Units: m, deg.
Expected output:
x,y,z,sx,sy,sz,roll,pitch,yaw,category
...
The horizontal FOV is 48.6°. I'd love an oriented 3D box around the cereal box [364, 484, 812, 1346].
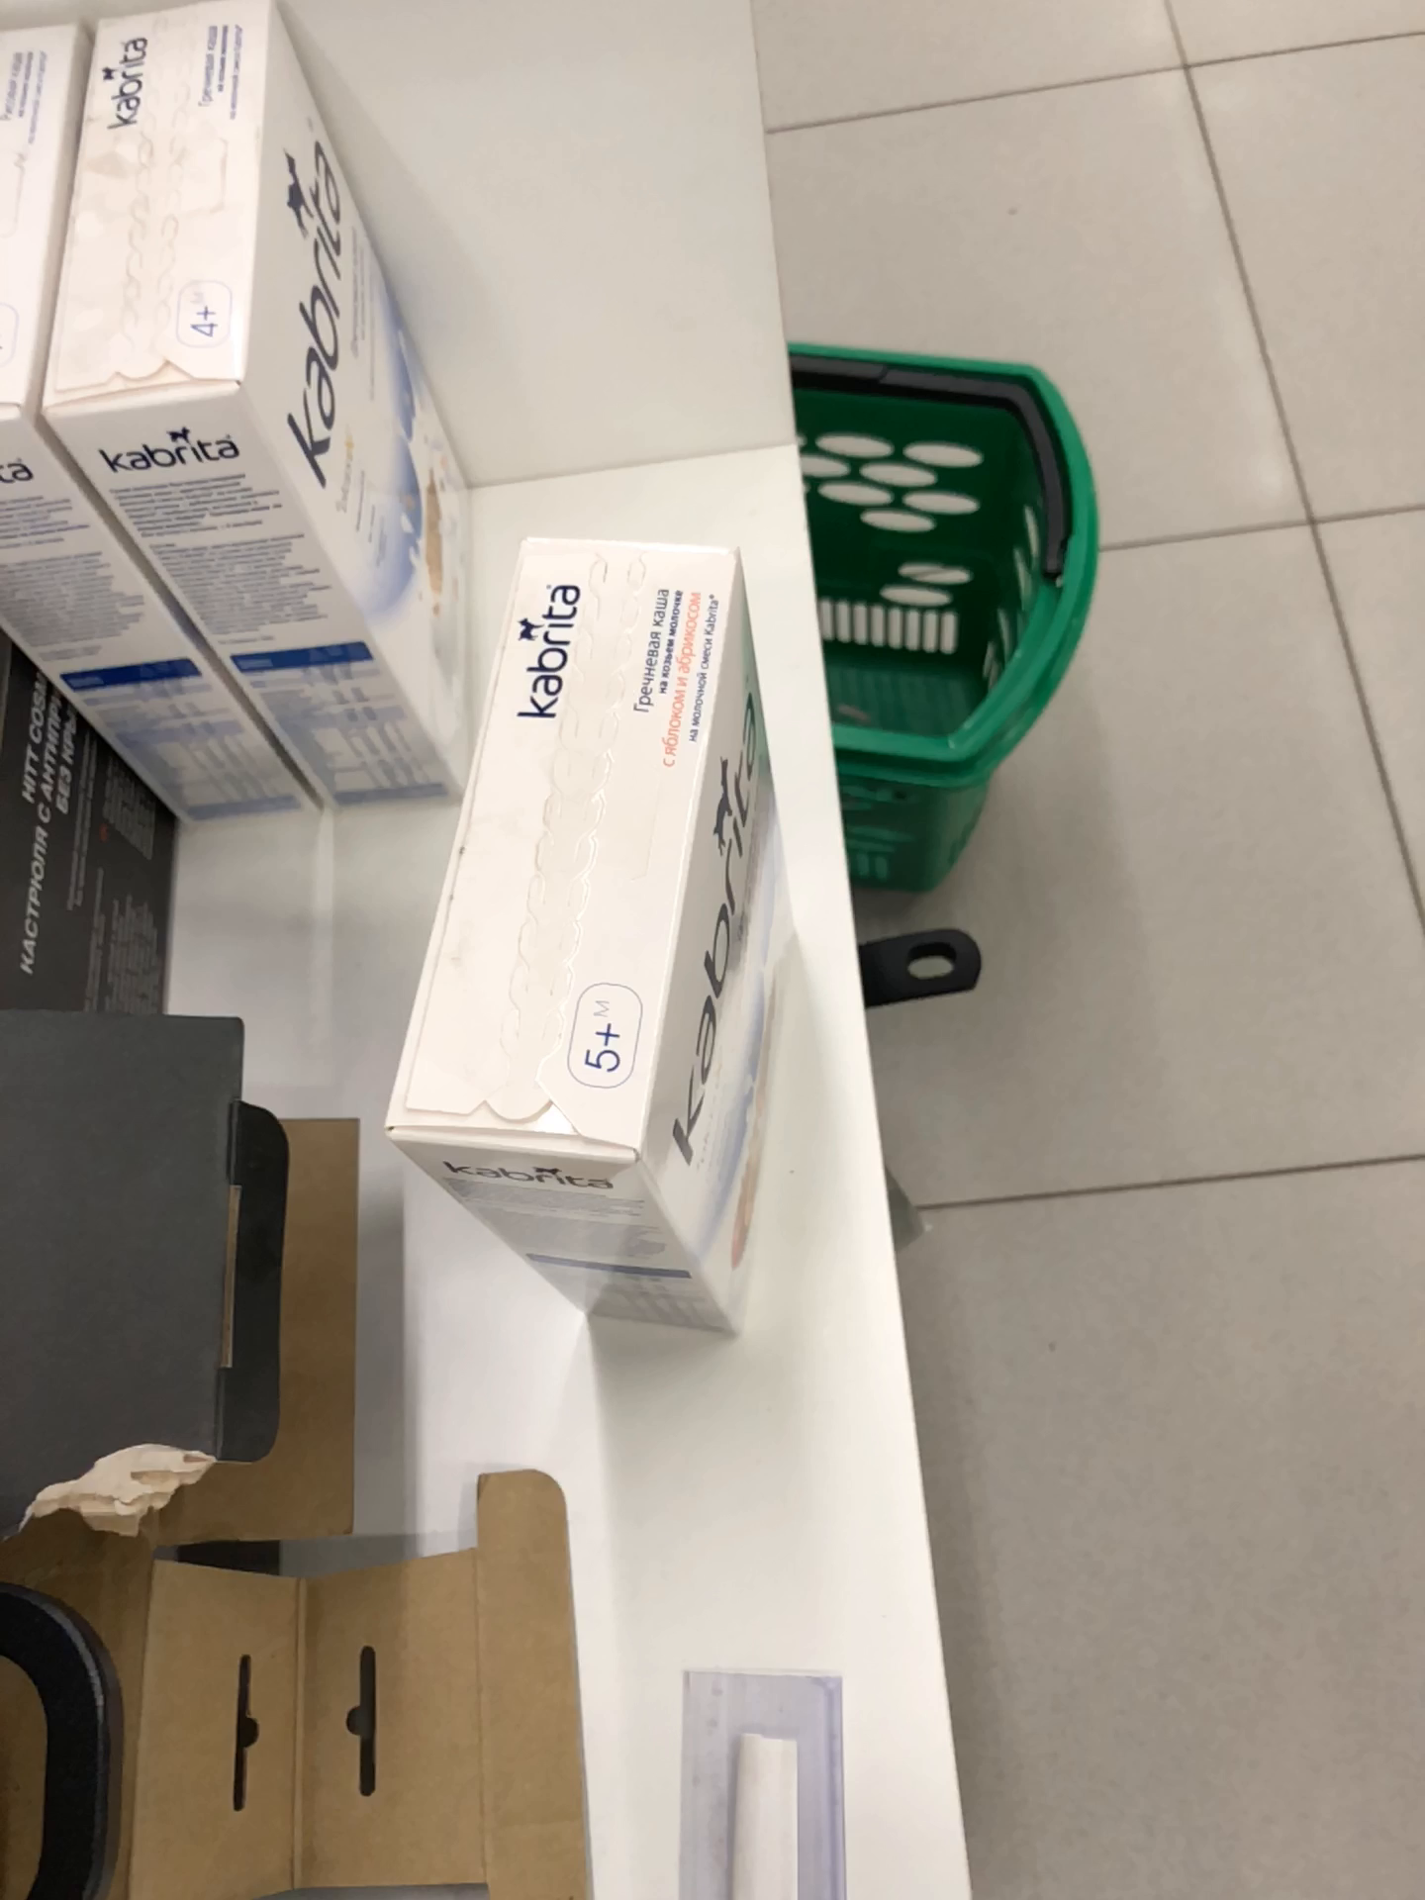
x,y,z,sx,sy,sz,roll,pitch,yaw,category
-0.015,0.008,0.389,0.050,0.200,0.140,6,68,9,cereal box
